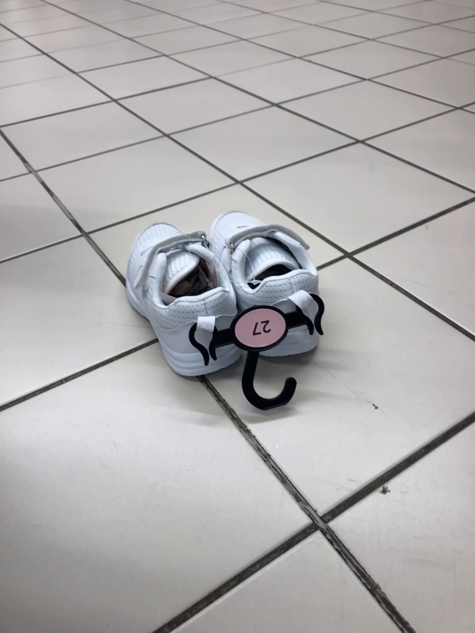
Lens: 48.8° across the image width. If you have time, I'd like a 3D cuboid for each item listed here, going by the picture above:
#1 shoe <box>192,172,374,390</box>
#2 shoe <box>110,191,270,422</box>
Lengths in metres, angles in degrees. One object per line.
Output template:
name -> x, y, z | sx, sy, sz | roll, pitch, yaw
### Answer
shoe -> 0.029, -0.043, 0.462 | 0.080, 0.080, 0.201 | -14, 41, -13
shoe -> -0.047, -0.021, 0.448 | 0.080, 0.080, 0.201 | -14, 41, -13
